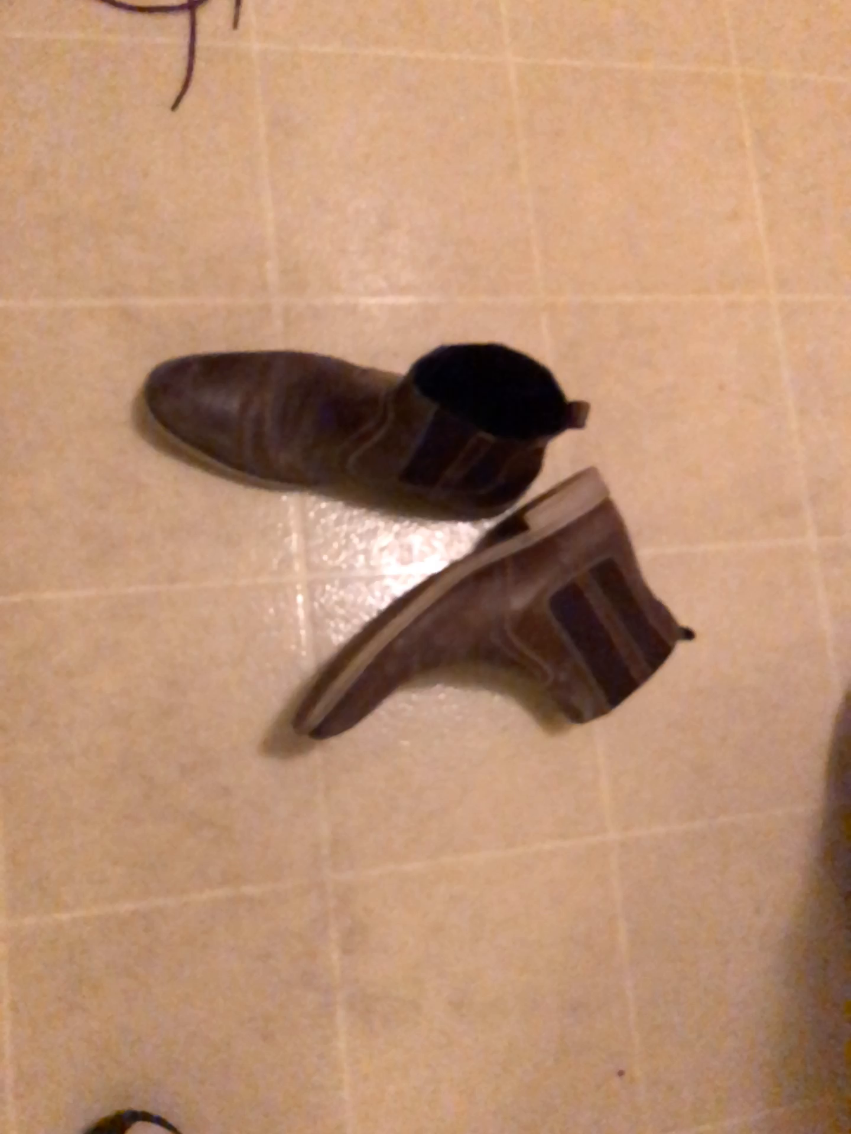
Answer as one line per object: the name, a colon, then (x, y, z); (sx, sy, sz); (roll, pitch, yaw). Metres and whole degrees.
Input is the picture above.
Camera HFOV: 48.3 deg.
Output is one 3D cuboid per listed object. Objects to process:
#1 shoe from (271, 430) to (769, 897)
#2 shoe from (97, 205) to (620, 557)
shoe: (0.067, 0.063, 0.697); (0.314, 0.111, 0.161); (-36, 91, -15)
shoe: (-0.048, -0.115, 0.673); (0.313, 0.161, 0.111); (15, 78, -9)
